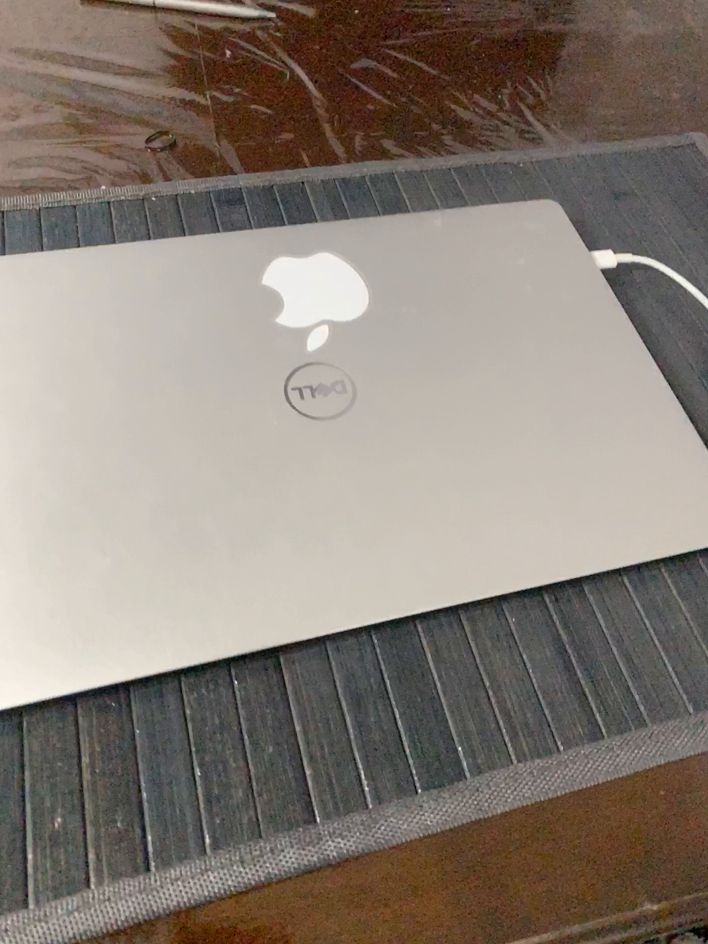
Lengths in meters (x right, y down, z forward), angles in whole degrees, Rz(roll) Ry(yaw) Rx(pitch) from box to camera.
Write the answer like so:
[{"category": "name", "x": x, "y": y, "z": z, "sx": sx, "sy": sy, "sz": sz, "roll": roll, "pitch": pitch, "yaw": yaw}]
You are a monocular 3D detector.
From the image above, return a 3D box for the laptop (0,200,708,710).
[{"category": "laptop", "x": -0.004, "y": -0.033, "z": 0.286, "sx": 0.271, "sy": 0.001, "sz": 0.188, "roll": -10, "pitch": 59, "yaw": -12}]
